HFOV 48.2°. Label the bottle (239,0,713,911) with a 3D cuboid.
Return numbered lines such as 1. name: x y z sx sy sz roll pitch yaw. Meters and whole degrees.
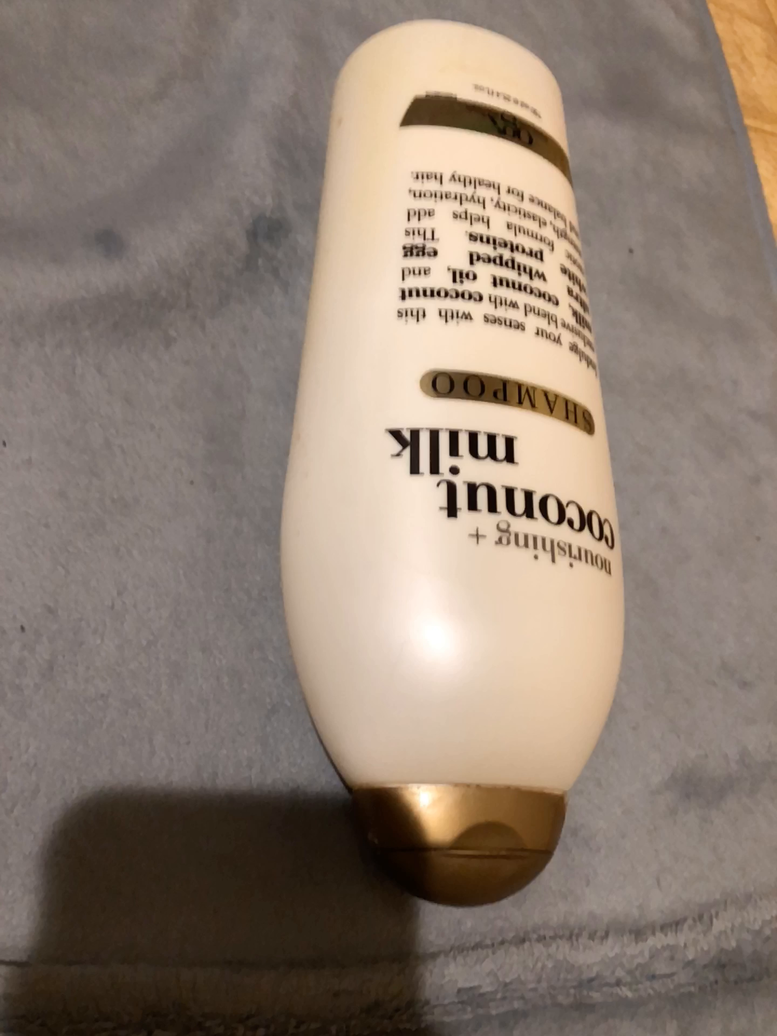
1. bottle: 0.018 -0.028 0.207 0.080 0.040 0.220 10 66 -20
